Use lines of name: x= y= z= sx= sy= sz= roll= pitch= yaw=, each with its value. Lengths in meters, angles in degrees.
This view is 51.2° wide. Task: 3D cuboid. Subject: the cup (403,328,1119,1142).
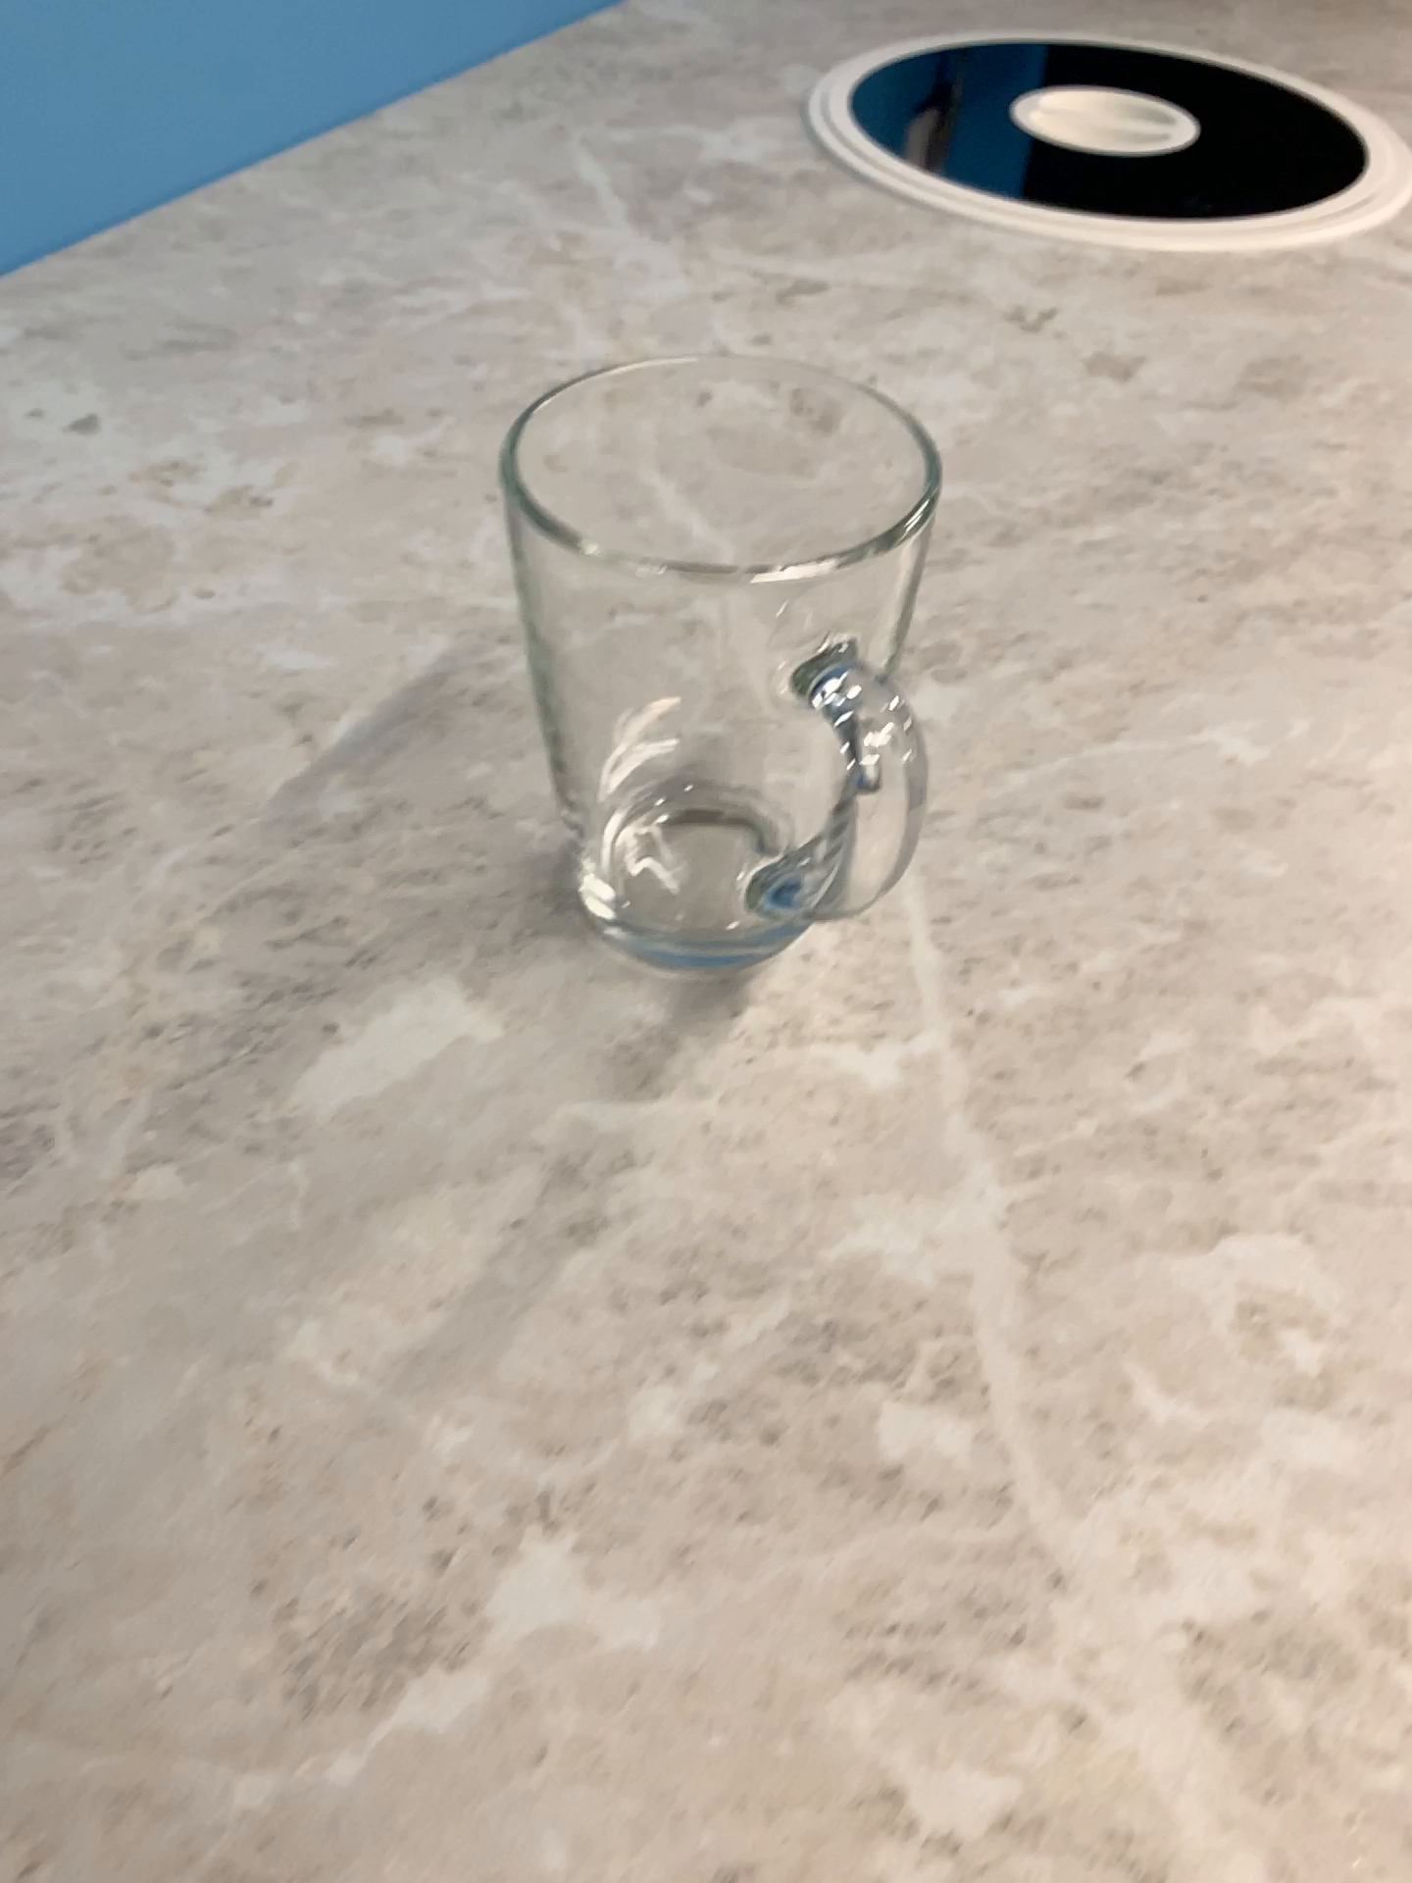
cup: x=0.002 y=-0.045 z=0.296 sx=0.089 sy=0.097 sz=0.116 roll=-15 pitch=49 yaw=-16
